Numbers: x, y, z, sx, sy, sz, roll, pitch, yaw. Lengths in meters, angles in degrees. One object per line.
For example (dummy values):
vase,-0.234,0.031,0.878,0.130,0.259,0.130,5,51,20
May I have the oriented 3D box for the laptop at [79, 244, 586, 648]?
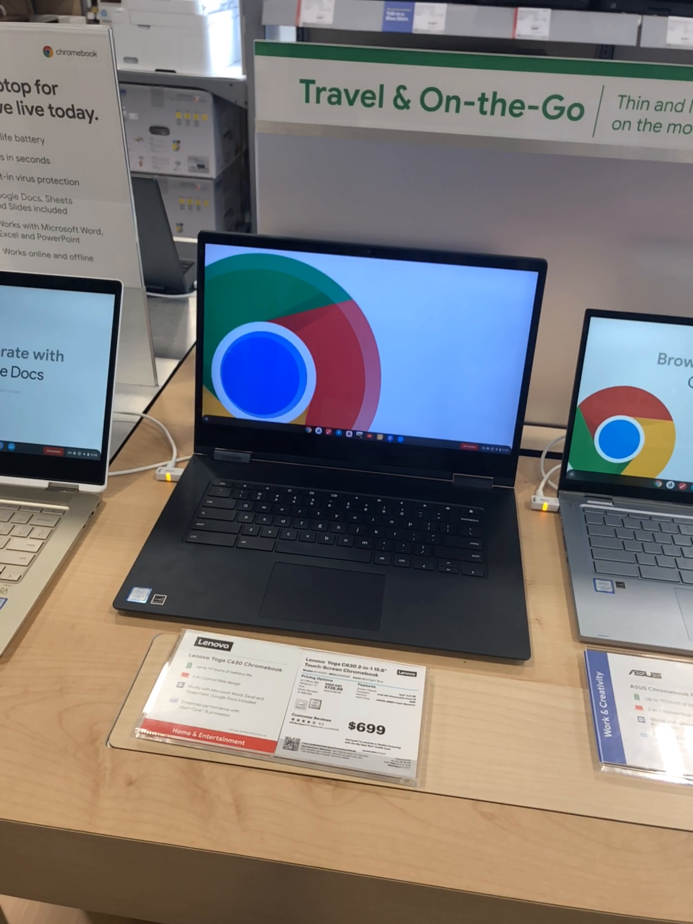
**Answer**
laptop,0.004,-0.035,0.697,0.343,0.230,0.293,6,33,6
